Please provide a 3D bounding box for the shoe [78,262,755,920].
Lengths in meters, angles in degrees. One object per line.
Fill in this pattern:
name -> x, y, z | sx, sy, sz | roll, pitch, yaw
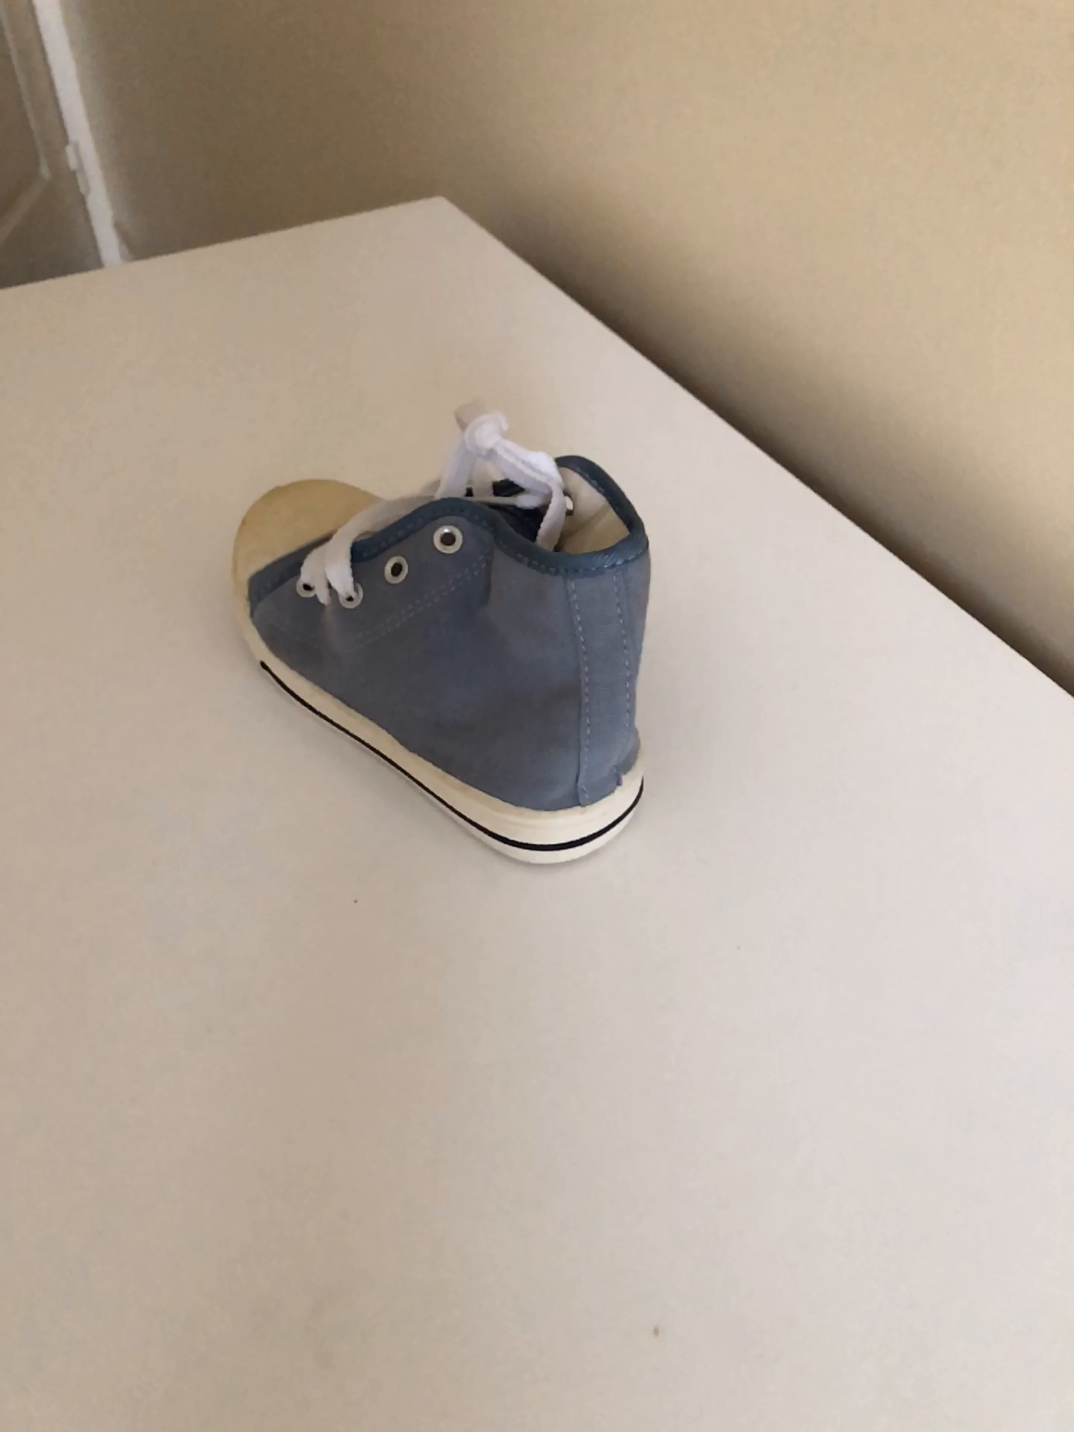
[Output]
shoe -> -0.041, -0.047, 0.355 | 0.080, 0.099, 0.190 | -34, 53, -30
